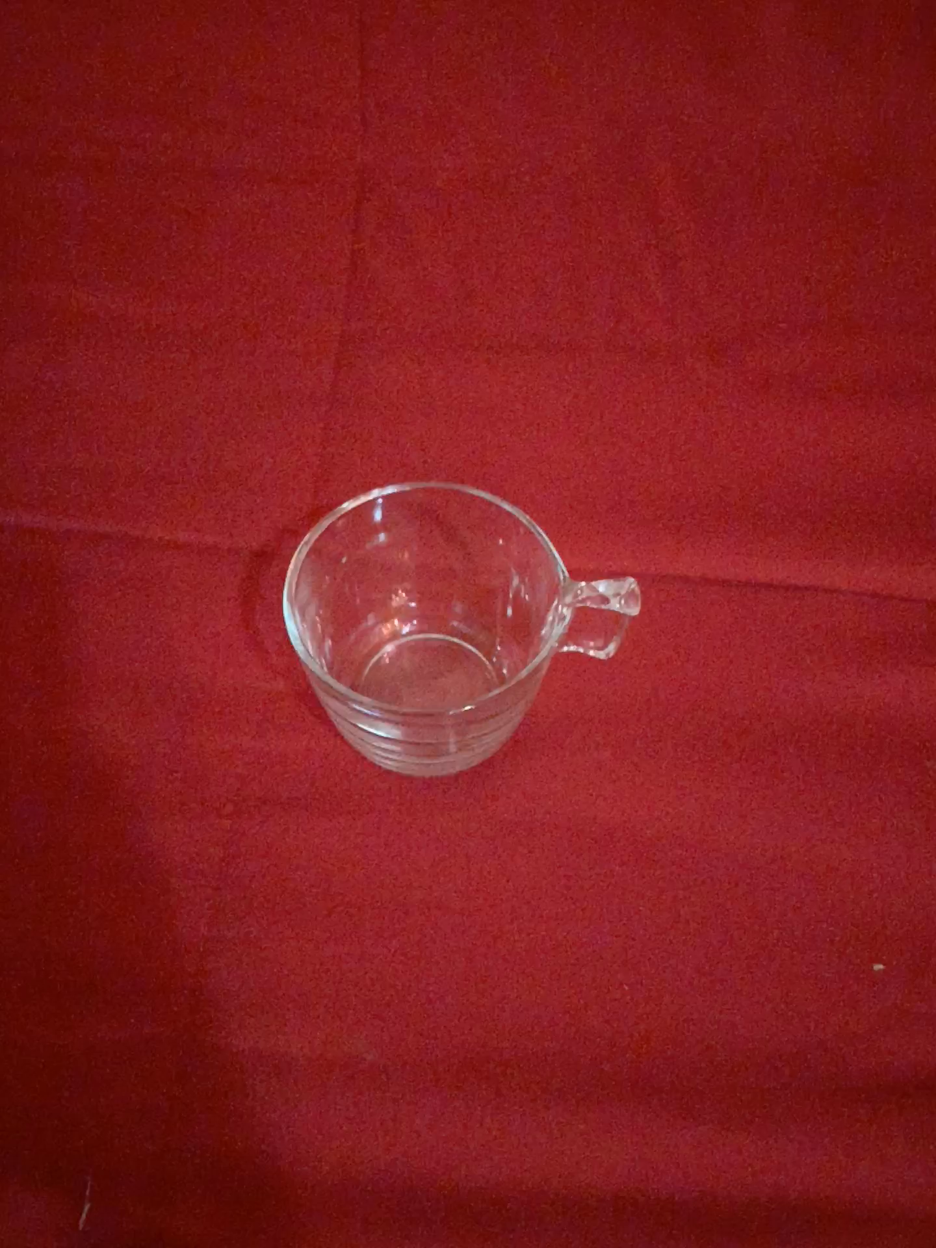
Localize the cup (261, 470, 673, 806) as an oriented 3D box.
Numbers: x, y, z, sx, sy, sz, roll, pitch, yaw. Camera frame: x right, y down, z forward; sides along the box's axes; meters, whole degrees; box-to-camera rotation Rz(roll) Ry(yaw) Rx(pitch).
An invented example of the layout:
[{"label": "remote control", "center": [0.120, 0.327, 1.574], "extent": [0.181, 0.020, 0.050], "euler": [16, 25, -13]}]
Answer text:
[{"label": "cup", "center": [0.000, 0.006, 0.325], "extent": [0.116, 0.069, 0.089], "euler": [1, 60, 0]}]
